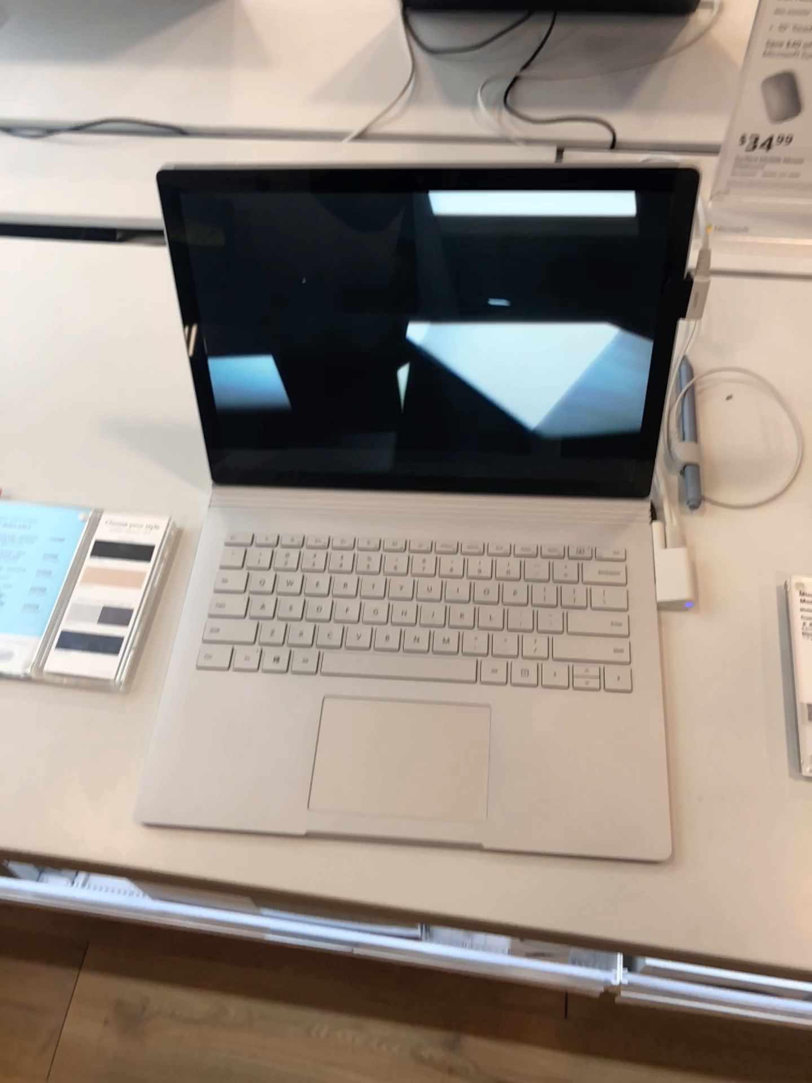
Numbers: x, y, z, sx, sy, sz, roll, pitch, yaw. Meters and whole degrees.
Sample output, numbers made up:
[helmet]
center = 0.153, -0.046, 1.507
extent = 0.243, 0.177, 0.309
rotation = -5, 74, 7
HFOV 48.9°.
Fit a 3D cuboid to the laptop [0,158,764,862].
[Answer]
[laptop]
center = -0.001, -0.022, 0.487
extent = 0.291, 0.192, 0.311
rotation = 2, 59, 6
